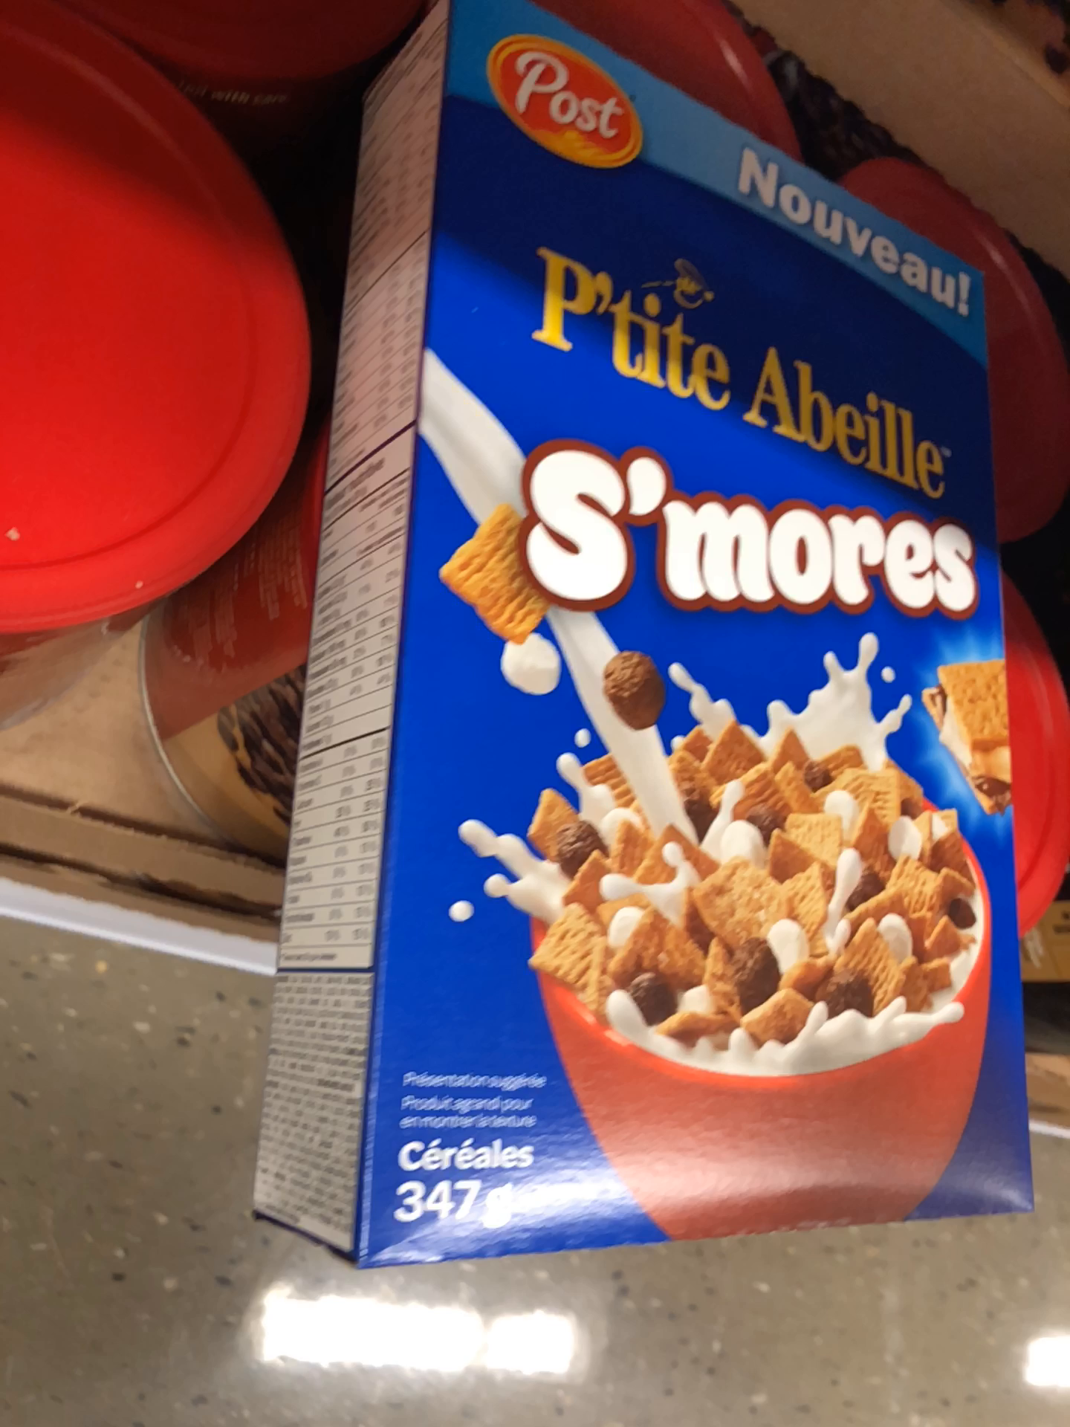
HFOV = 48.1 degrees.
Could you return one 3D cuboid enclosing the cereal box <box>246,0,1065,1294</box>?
[{"bbox_3d":[0.046,-0.017,0.321,0.201,0.060,0.290,12,73,-31],"label":"cereal box"}]
